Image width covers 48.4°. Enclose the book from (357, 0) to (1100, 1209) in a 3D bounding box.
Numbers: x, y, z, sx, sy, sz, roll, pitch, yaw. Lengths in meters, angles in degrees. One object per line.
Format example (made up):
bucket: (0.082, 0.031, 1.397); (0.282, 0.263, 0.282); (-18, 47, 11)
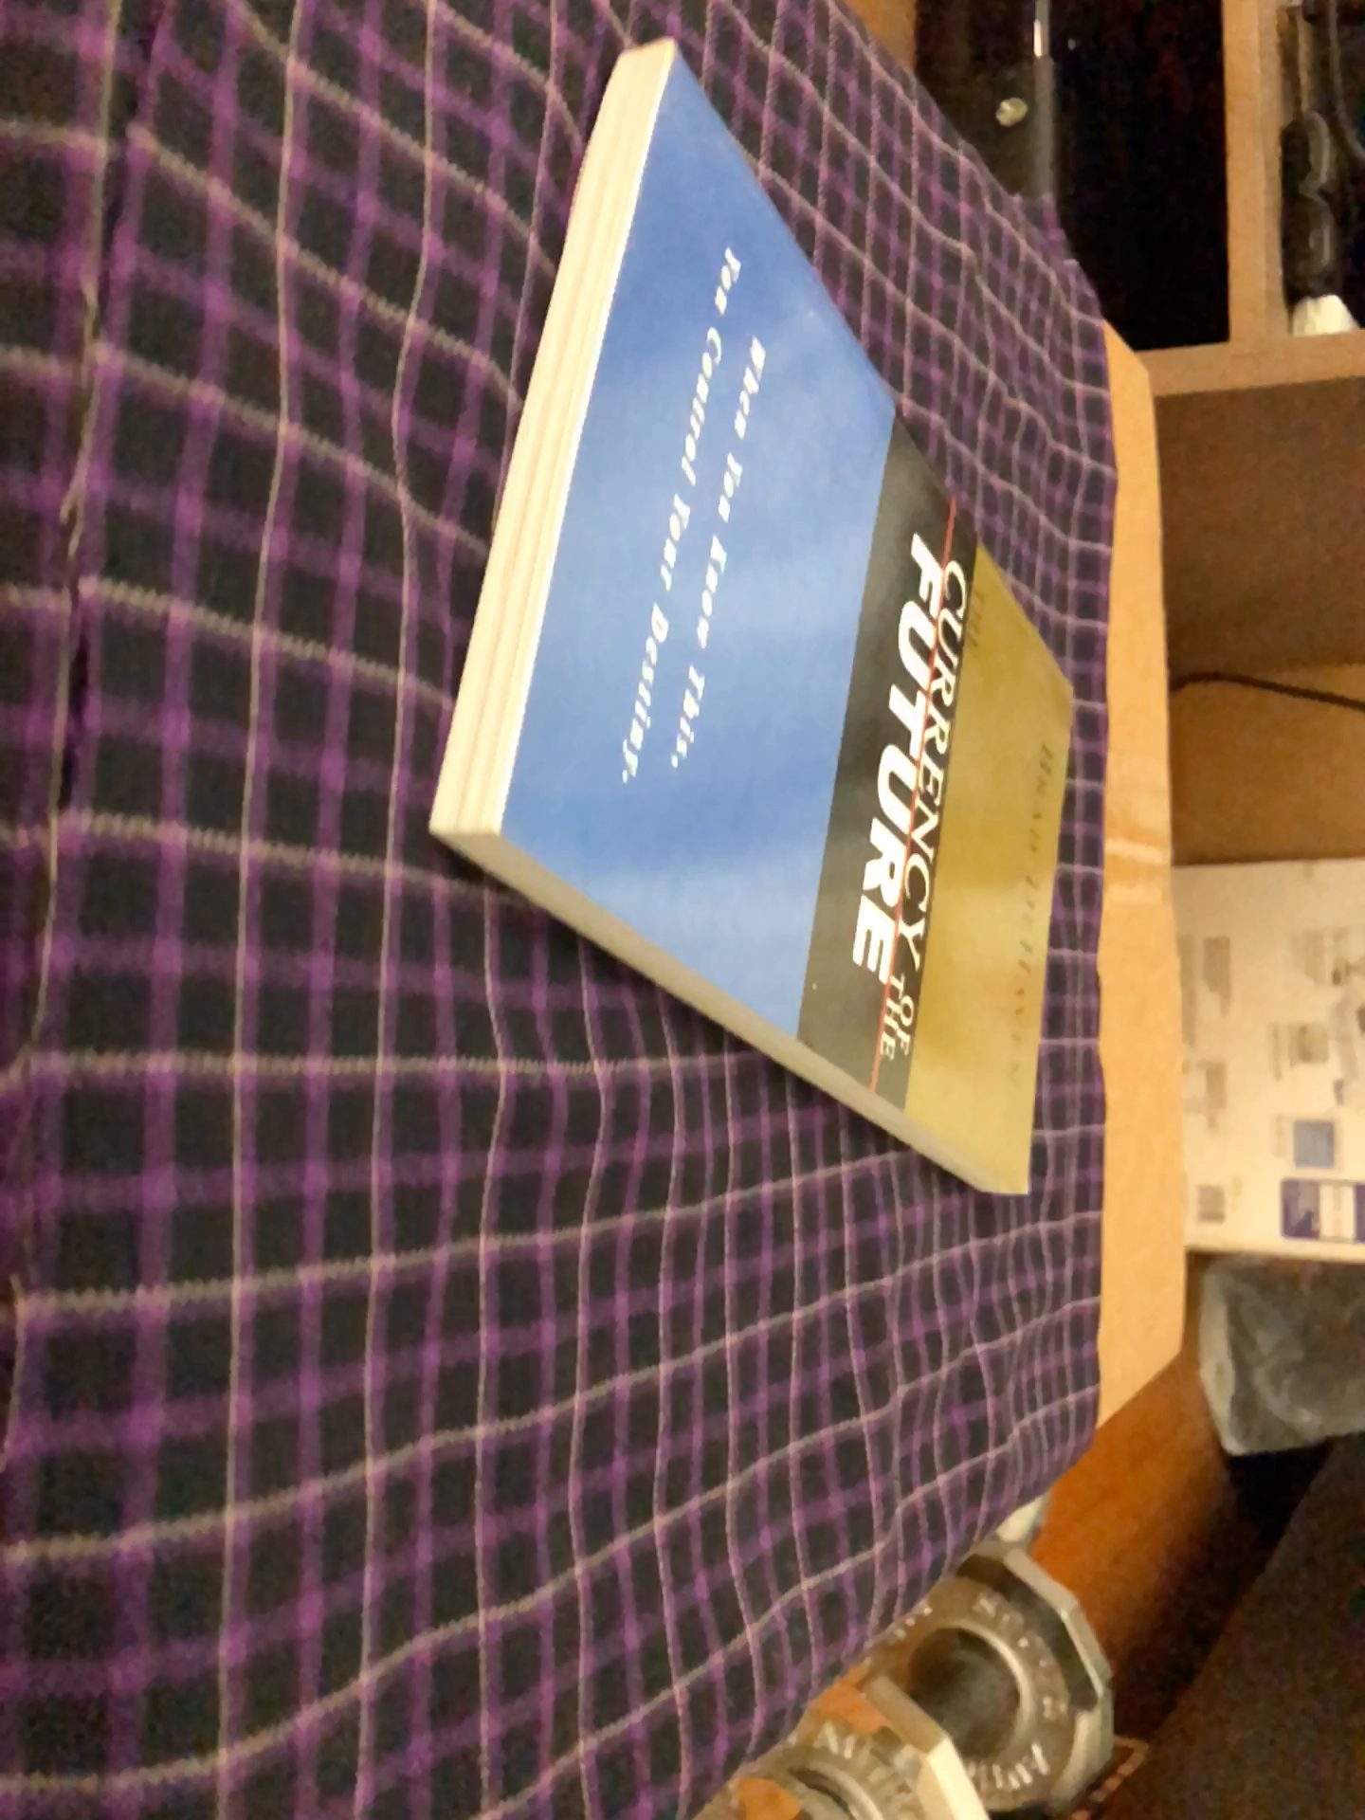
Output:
book: (0.035, -0.040, 0.299); (0.221, 0.020, 0.150); (36, 58, -51)
